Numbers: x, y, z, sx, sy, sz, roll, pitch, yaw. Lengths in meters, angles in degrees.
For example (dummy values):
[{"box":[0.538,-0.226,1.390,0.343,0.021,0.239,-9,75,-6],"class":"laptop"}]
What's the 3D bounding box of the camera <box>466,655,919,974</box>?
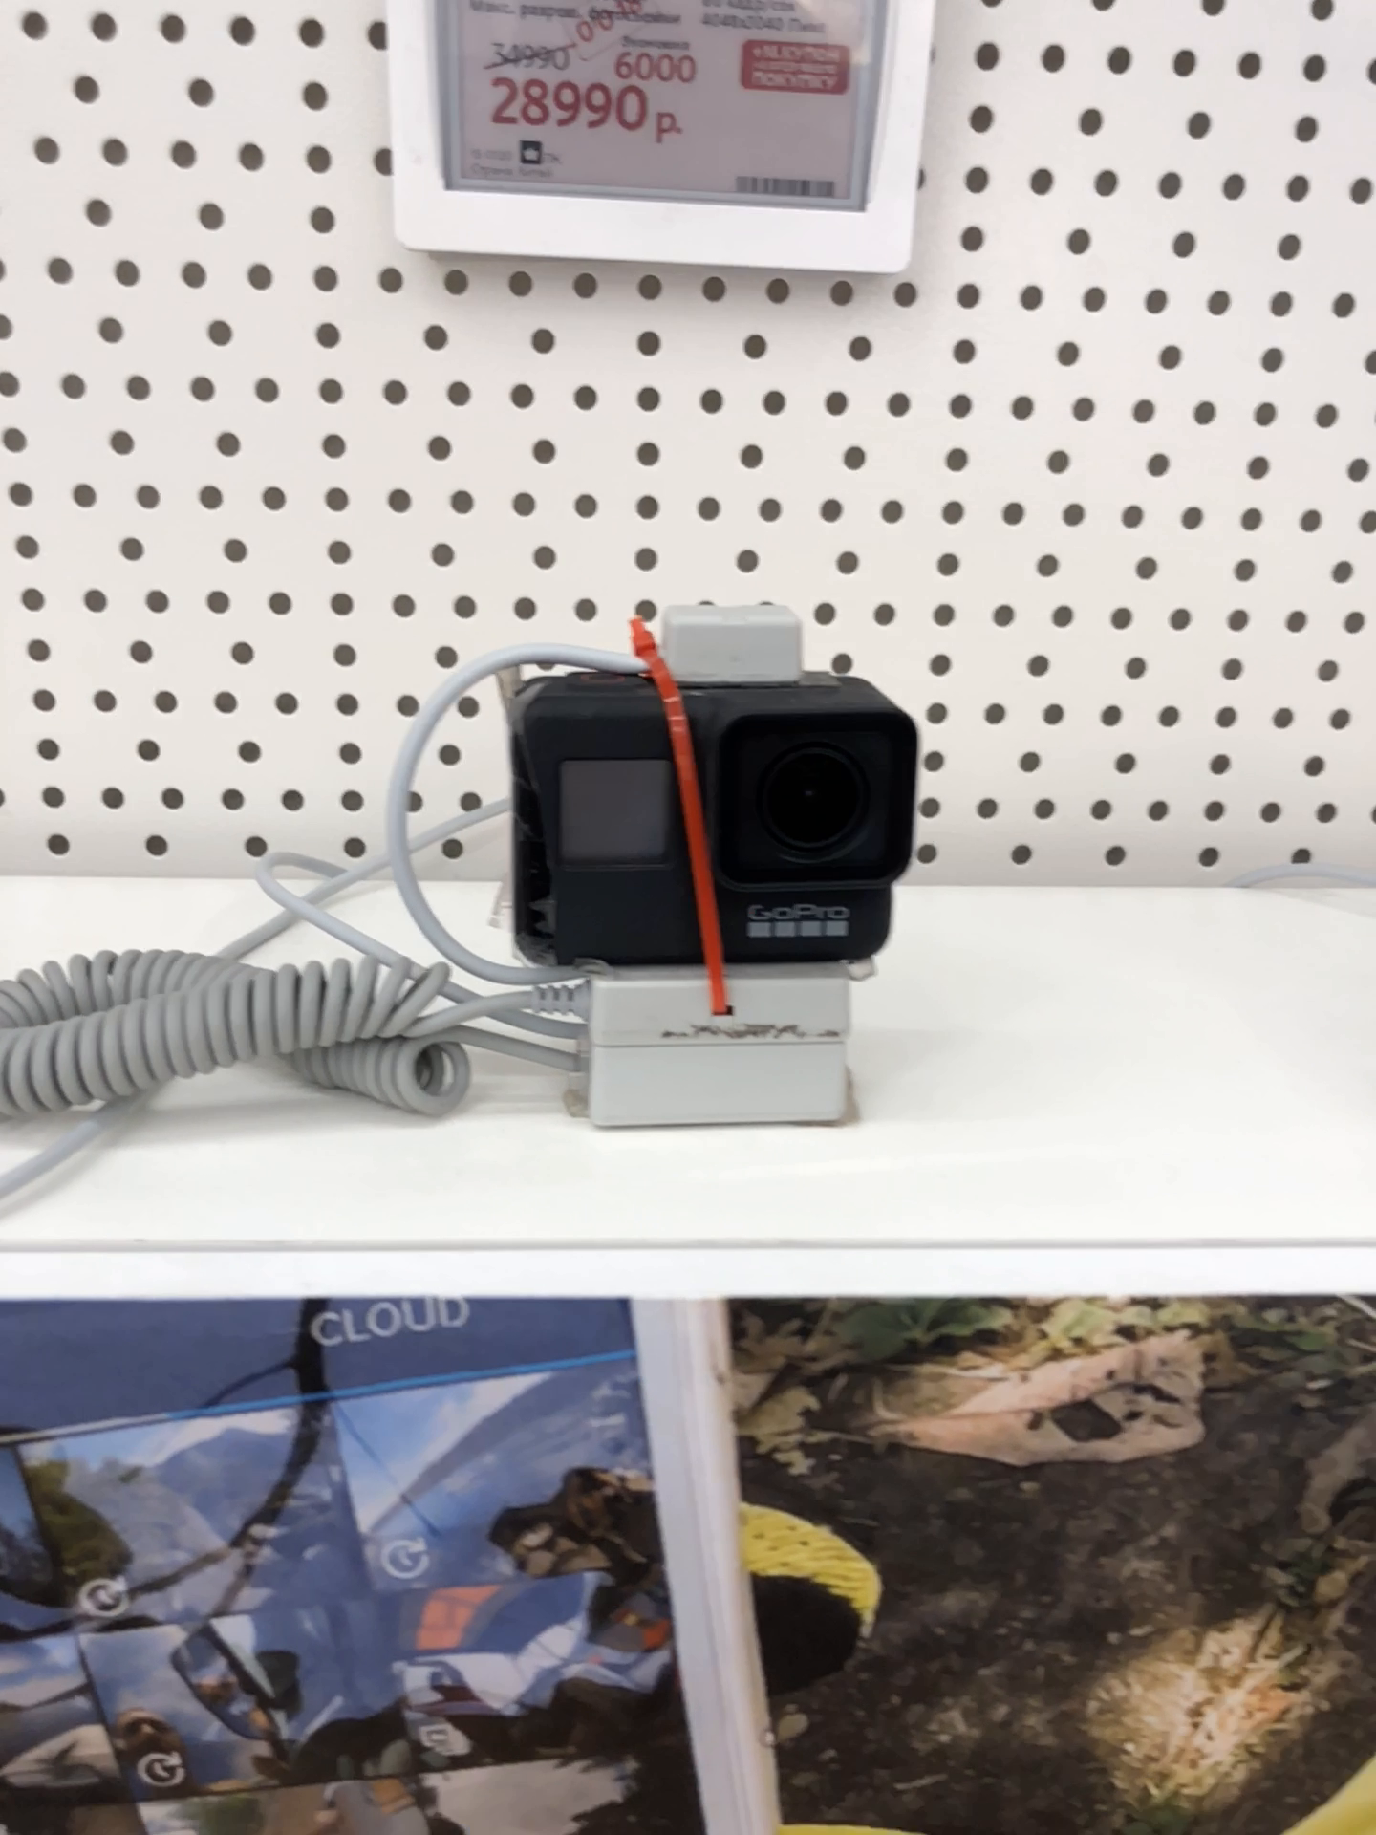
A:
[{"box":[-0.001,-0.017,0.242,0.066,0.044,0.029,-1,19,-6],"class":"camera"}]
